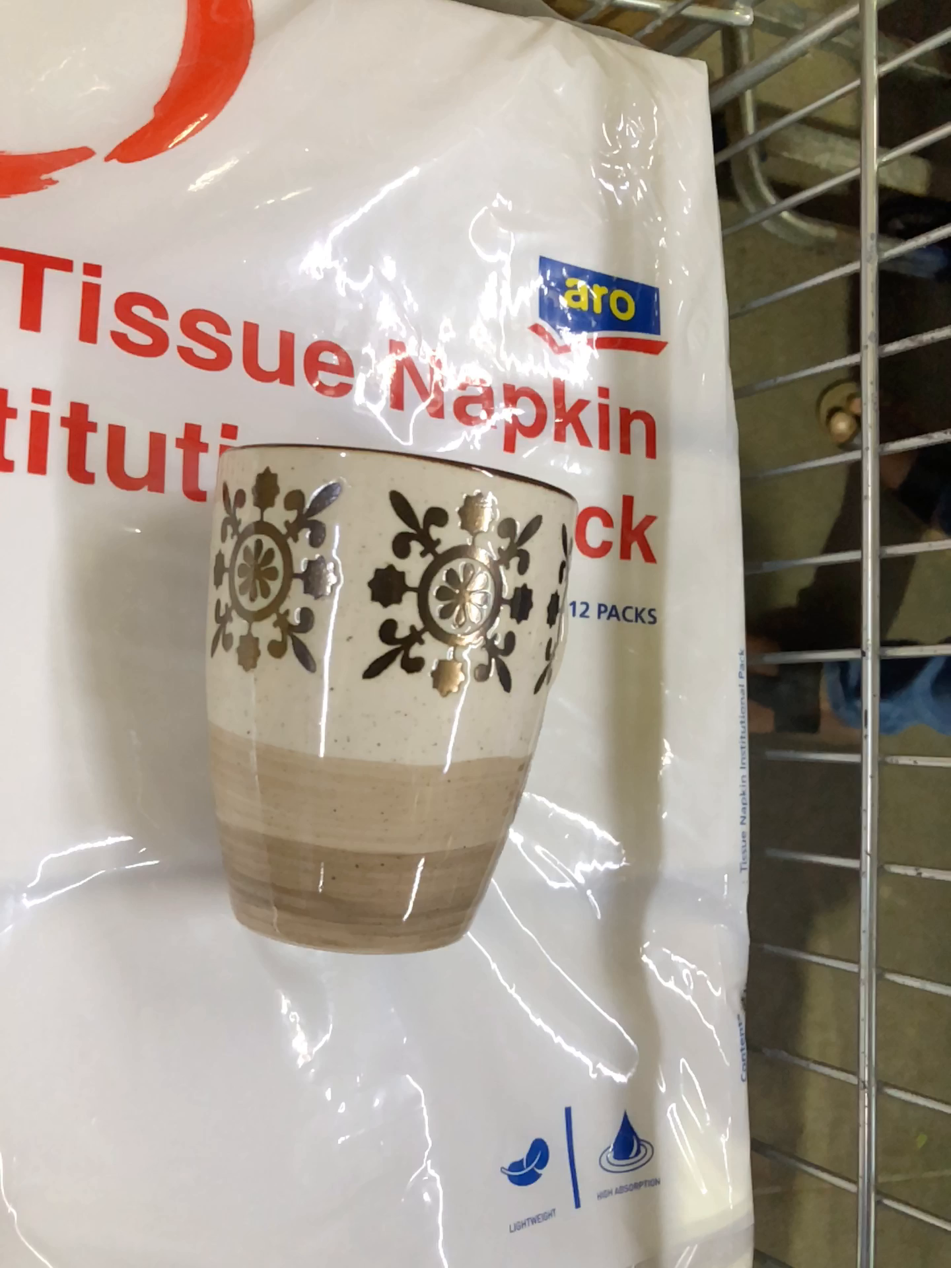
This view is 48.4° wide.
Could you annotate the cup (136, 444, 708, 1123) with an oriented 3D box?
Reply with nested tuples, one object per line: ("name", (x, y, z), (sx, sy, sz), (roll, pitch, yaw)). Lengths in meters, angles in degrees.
("cup", (-0.004, 0.026, 0.232), (0.100, 0.070, 0.110), (-11, 103, -58))
